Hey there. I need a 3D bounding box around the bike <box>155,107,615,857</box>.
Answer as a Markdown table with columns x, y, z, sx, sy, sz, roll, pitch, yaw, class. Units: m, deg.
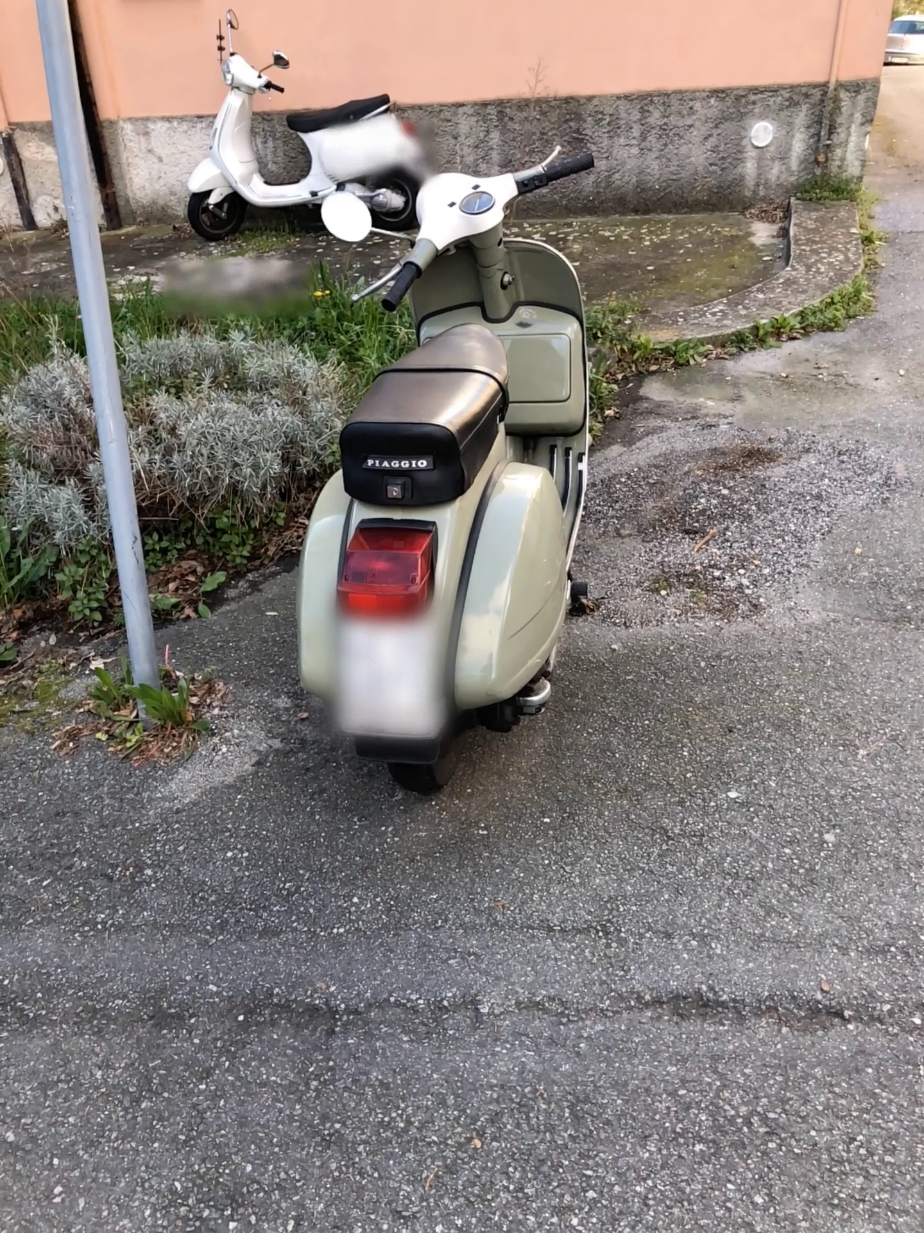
| x | y | z | sx | sy | sz | roll | pitch | yaw | class |
| --- | --- | --- | --- | --- | --- | --- | --- | --- | --- |
| -0.013 | -0.430 | 2.213 | 0.621 | 1.027 | 1.449 | 3 | 33 | 7 | bike |
